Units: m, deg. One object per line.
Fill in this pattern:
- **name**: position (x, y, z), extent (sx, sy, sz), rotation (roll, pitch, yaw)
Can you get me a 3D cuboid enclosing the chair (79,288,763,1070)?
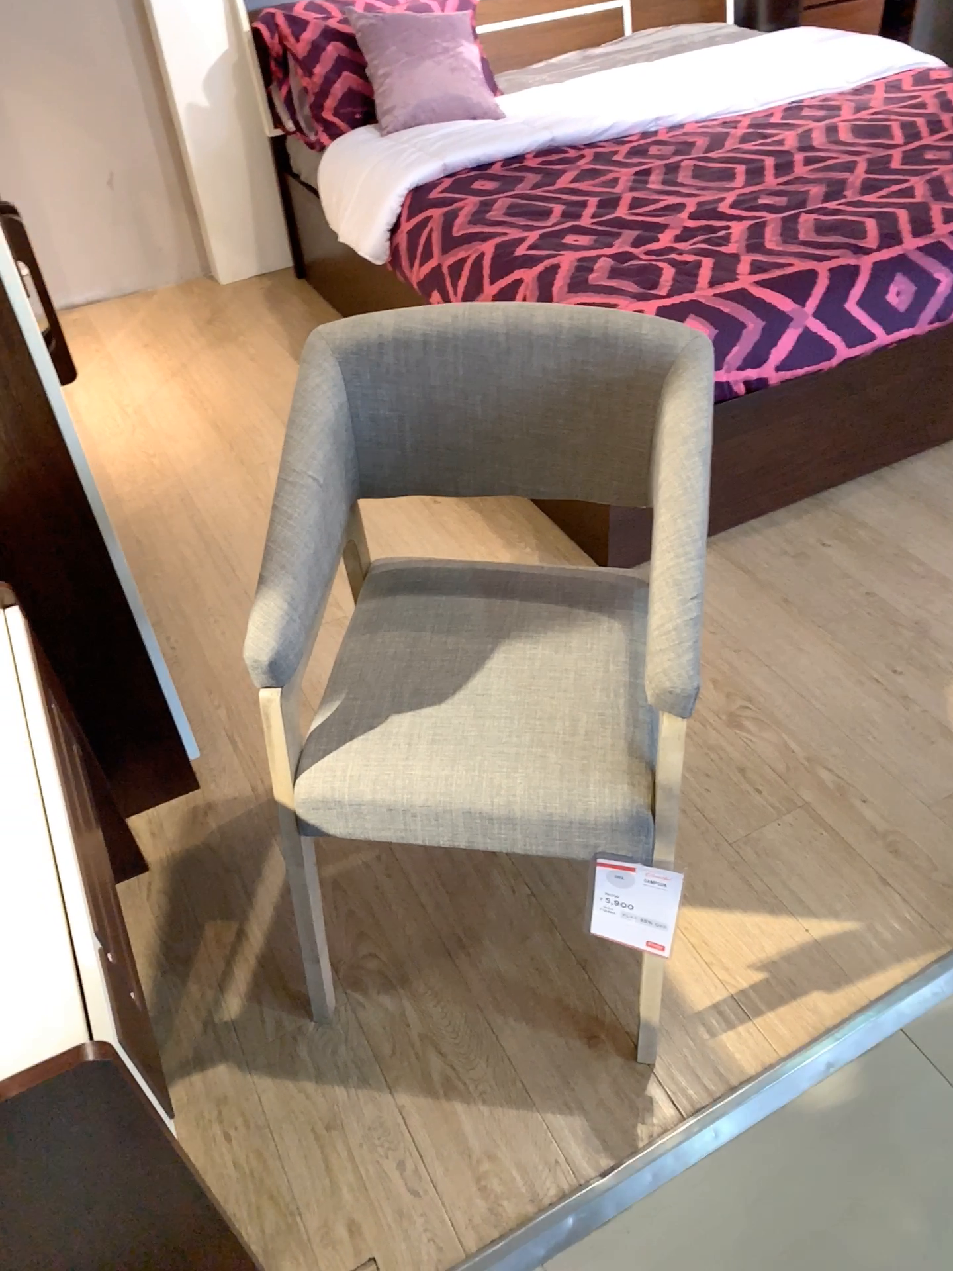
- **chair**: position (0.011, 0.062, 1.252), extent (0.560, 0.797, 0.582), rotation (3, 42, 9)
